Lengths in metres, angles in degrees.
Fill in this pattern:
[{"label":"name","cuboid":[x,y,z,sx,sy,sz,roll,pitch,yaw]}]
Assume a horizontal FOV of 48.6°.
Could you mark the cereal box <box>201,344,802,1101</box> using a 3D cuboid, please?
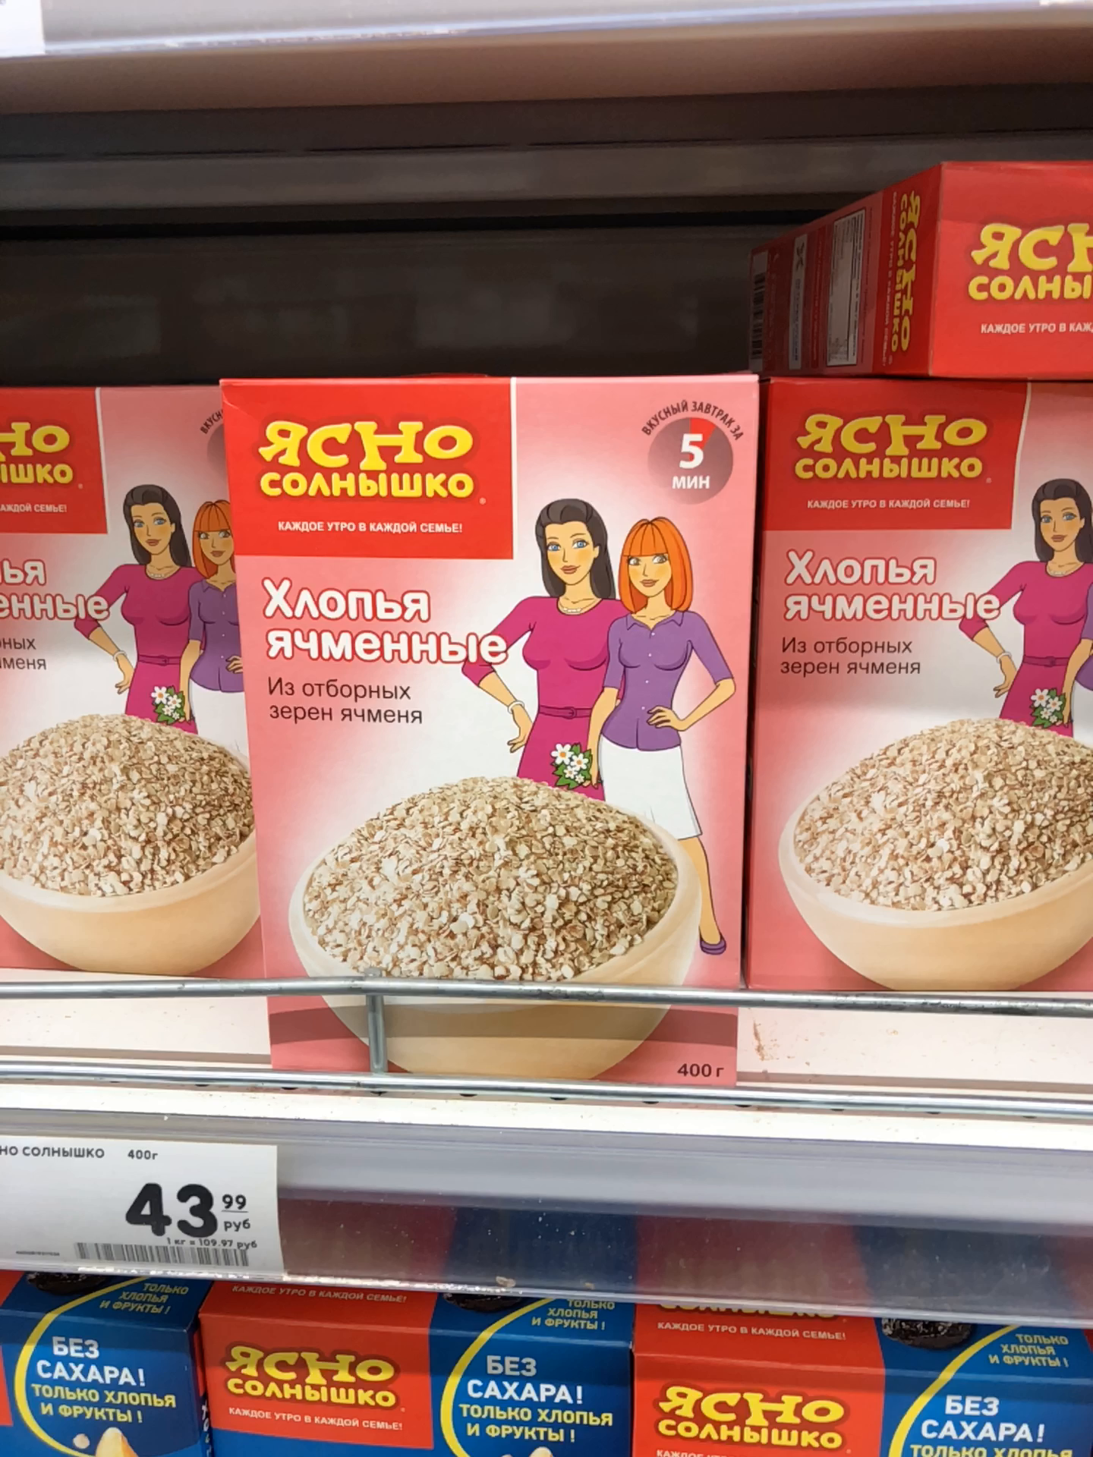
[{"label":"cereal box","cuboid":[-0.008,-0.002,0.326,0.140,0.189,0.050,1,15,7]}]
